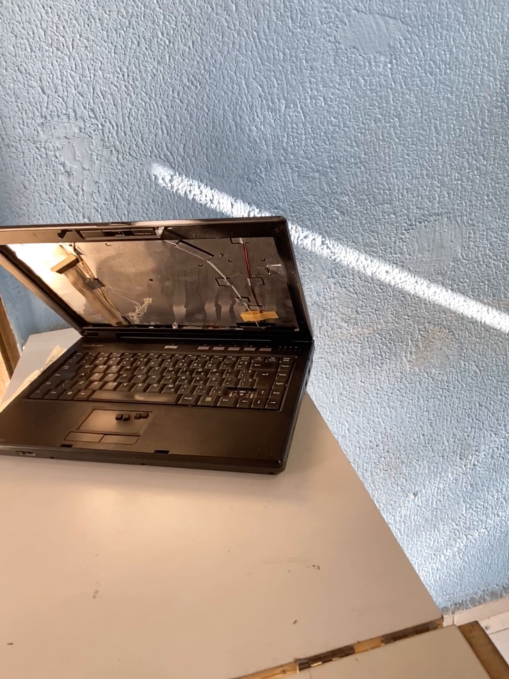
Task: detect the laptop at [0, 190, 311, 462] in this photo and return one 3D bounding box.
[{"bbox_3d":[-0.121,-0.033,0.561,0.322,0.191,0.232,1,26,13],"label":"laptop"}]
